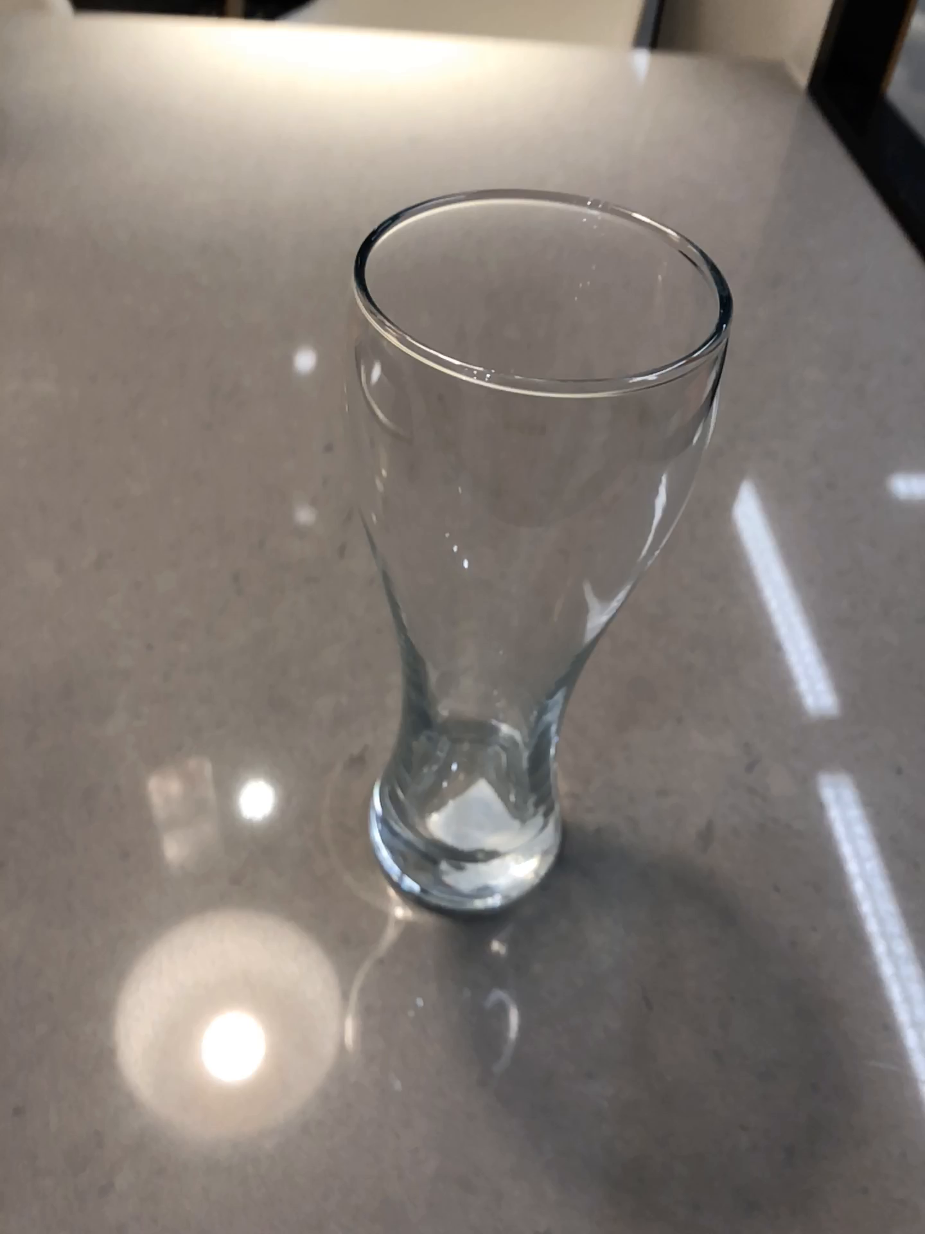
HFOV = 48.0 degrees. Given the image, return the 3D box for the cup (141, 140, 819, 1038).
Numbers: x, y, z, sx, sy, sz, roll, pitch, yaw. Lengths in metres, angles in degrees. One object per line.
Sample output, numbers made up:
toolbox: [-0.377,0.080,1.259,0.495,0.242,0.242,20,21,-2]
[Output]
cup: [-0.004,0.005,0.295,0.100,0.220,0.100,3,47,-3]
